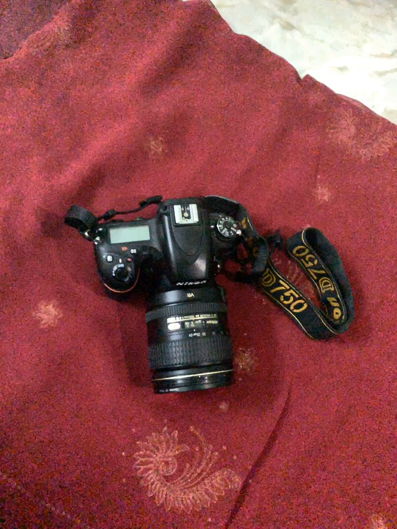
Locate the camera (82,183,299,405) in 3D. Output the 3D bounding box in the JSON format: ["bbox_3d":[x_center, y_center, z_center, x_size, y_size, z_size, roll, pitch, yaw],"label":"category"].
[{"bbox_3d":[-0.015,0.029,0.362,0.150,0.110,0.160,-4,75,-9],"label":"camera"}]
